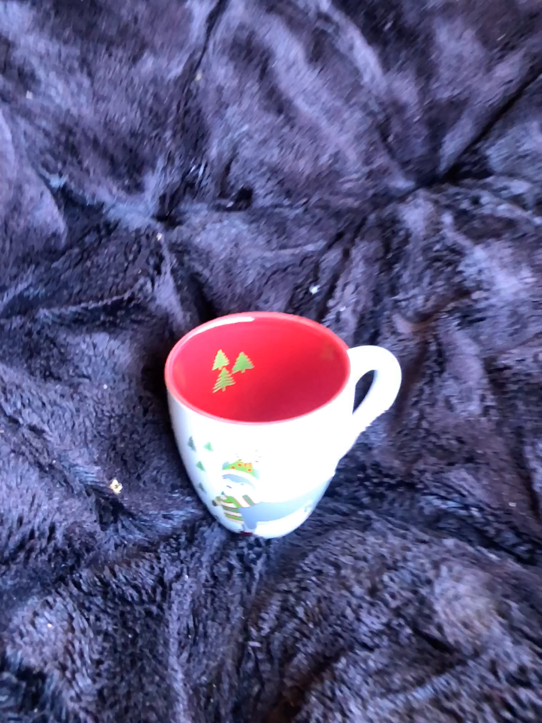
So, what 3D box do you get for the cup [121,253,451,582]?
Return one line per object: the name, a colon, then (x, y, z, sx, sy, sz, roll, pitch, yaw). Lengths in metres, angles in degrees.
cup: (0.006, 0.026, 0.349, 0.140, 0.110, 0.100, -21, 45, -24)
